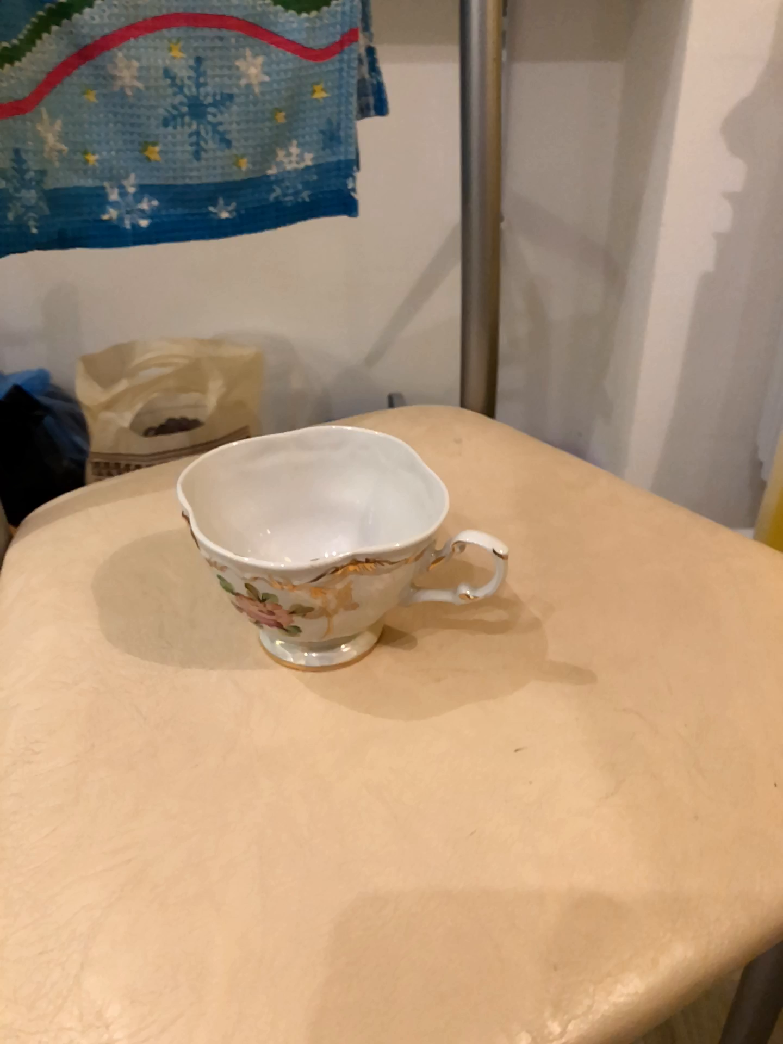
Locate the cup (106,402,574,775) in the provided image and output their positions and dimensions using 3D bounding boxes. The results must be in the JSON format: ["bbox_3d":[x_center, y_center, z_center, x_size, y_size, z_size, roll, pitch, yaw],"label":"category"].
[{"bbox_3d":[-0.016,0.015,0.333,0.139,0.064,0.101,15,36,23],"label":"cup"}]
